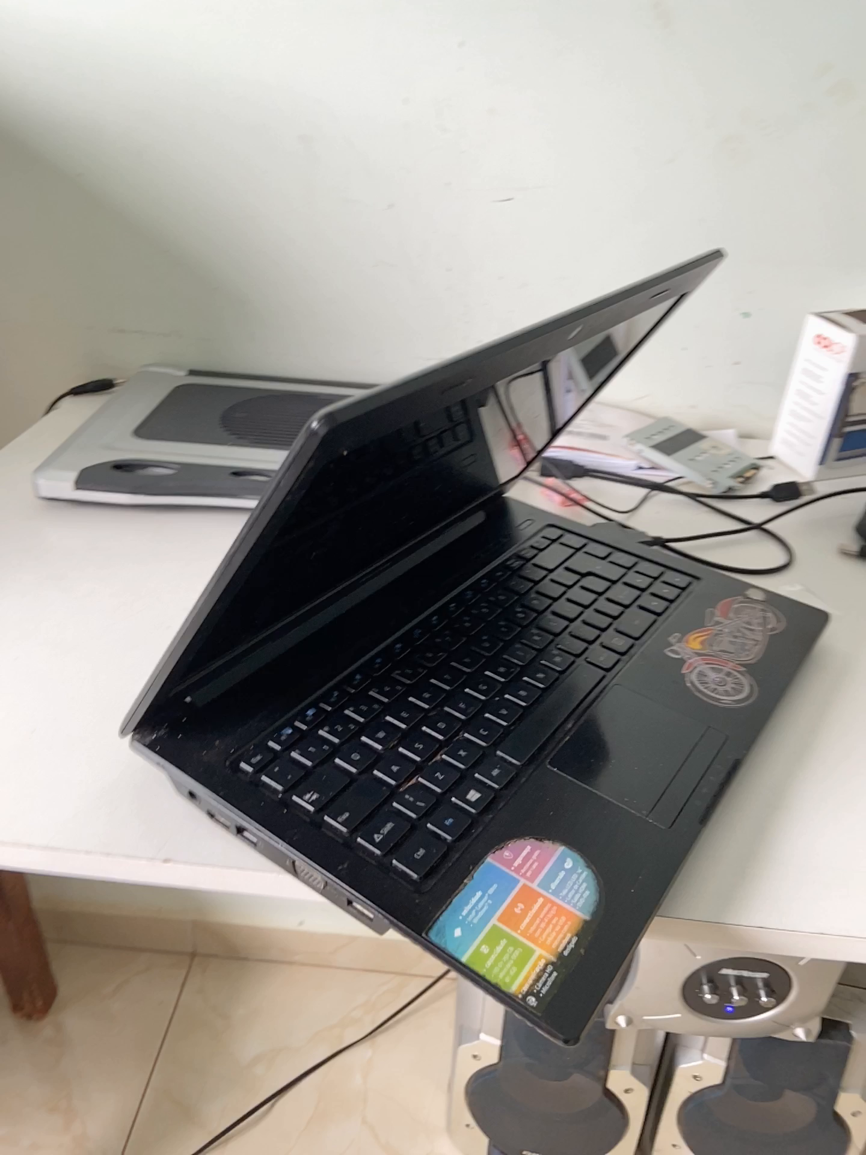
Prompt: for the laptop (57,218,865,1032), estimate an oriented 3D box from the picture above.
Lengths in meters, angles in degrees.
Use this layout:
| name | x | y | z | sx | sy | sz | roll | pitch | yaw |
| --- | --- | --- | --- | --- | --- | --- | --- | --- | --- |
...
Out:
| name | x | y | z | sx | sy | sz | roll | pitch | yaw |
| --- | --- | --- | --- | --- | --- | --- | --- | --- | --- |
| laptop | 0.054 | -0.034 | 0.427 | 0.233 | 0.189 | 0.331 | 22 | 37 | 28 |
